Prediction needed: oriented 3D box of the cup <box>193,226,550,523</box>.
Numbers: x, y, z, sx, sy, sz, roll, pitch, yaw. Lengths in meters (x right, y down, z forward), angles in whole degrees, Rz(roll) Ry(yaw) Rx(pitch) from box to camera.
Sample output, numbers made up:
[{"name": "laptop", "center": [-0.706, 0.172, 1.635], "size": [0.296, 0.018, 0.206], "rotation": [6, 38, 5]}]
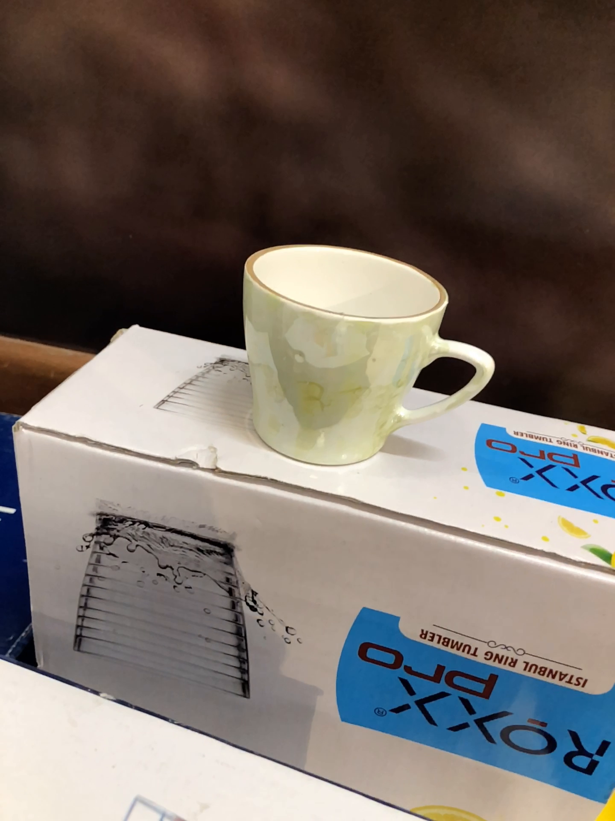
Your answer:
[{"name": "cup", "center": [0.021, -0.017, 0.241], "size": [0.100, 0.060, 0.070], "rotation": [12, 31, 4]}]
